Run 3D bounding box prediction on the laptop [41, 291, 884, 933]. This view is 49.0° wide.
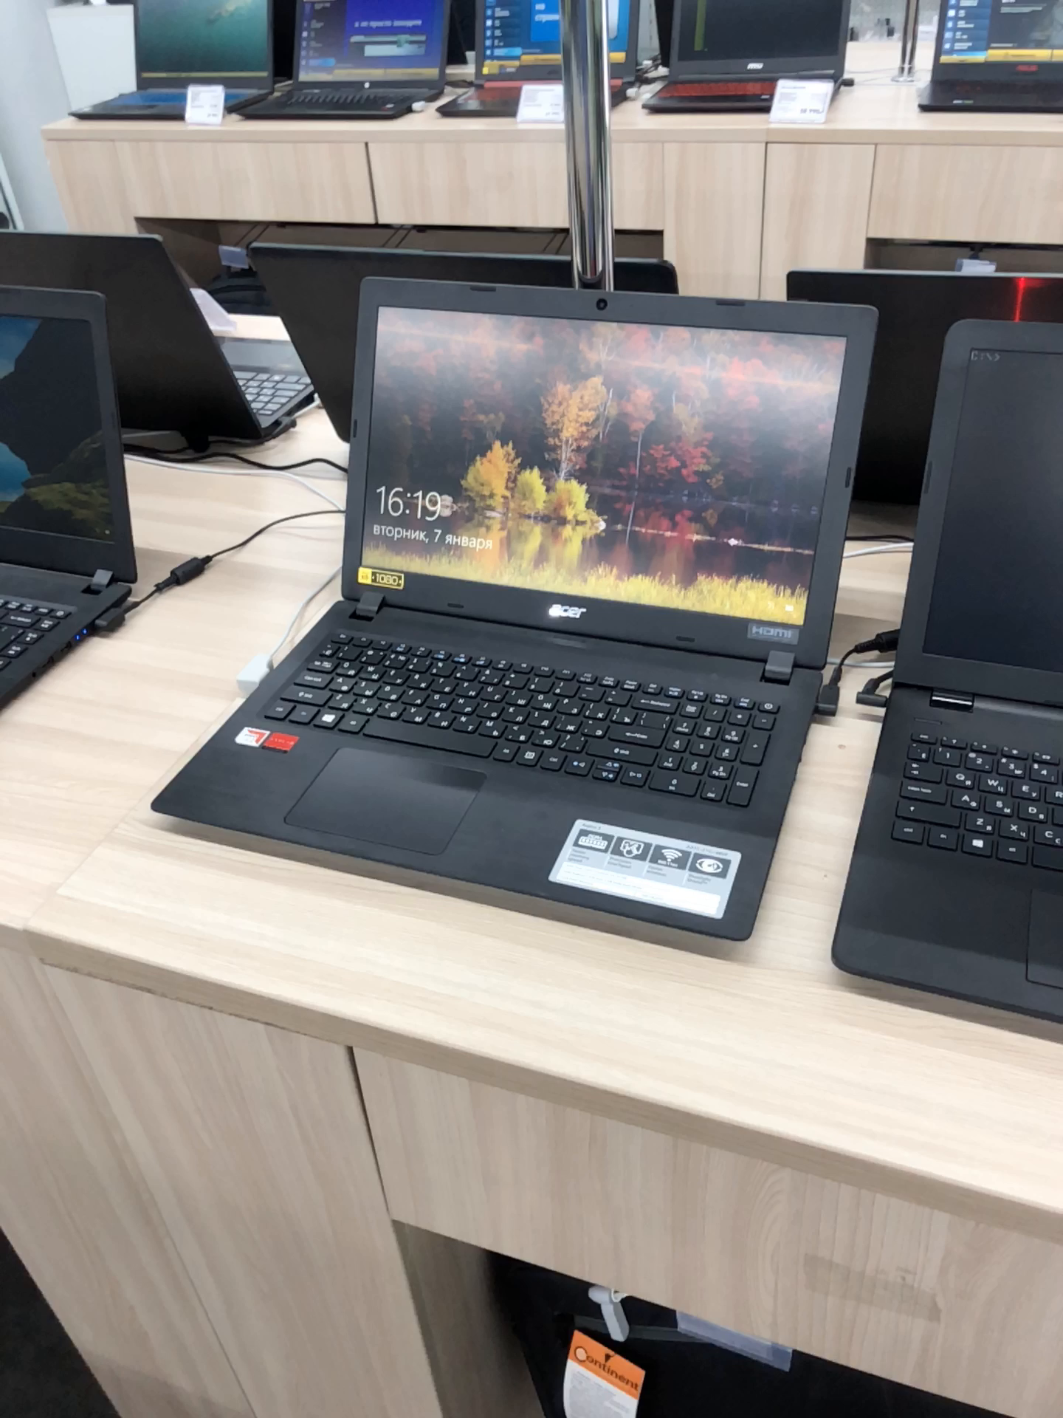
[{"bbox_3d":[-0.004,-0.098,0.746,0.373,0.208,0.369,9,39,18],"label":"laptop"}]

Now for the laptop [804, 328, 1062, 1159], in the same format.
[{"bbox_3d":[0.380,-0.024,0.598,0.378,0.212,0.339,11,39,19],"label":"laptop"}]

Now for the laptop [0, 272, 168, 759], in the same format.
[{"bbox_3d":[-0.523,-0.168,0.891,0.306,0.214,0.302,10,40,19],"label":"laptop"}]
